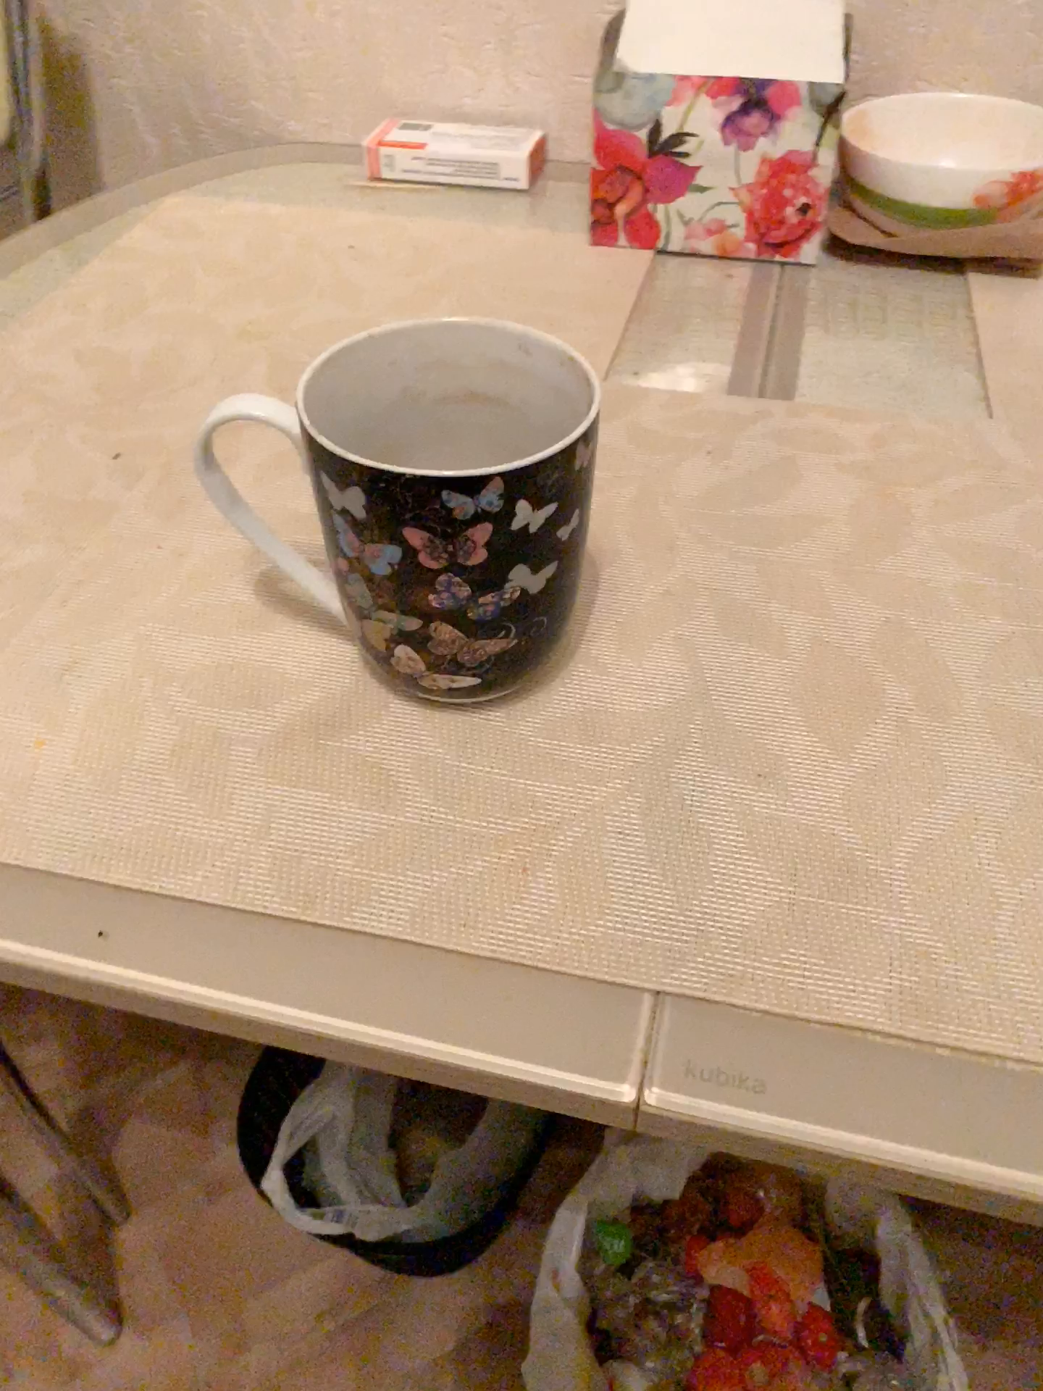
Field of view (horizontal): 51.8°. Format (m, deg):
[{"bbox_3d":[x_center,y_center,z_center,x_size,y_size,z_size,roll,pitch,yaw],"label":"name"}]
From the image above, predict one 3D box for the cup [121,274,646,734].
[{"bbox_3d":[-0.033,-0.060,0.329,0.126,0.097,0.082,8,46,9],"label":"cup"}]
